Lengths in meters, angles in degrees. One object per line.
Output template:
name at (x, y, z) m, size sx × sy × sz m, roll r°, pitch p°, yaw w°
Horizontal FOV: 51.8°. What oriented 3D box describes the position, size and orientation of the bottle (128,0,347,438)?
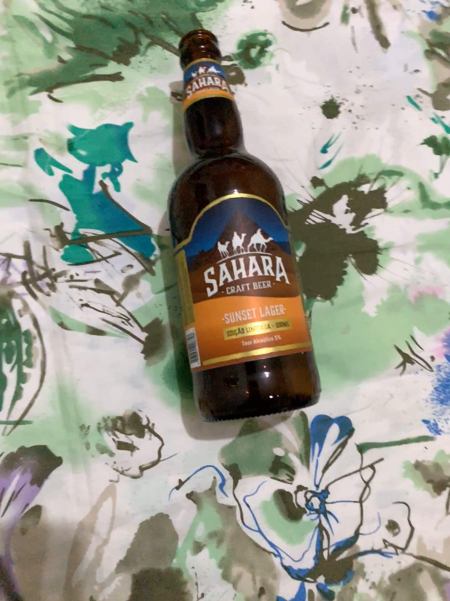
bottle at (-0.001, -0.054, 0.286) m, size 0.080 × 0.070 × 0.250 m, roll -8°, pitch 81°, yaw -11°
